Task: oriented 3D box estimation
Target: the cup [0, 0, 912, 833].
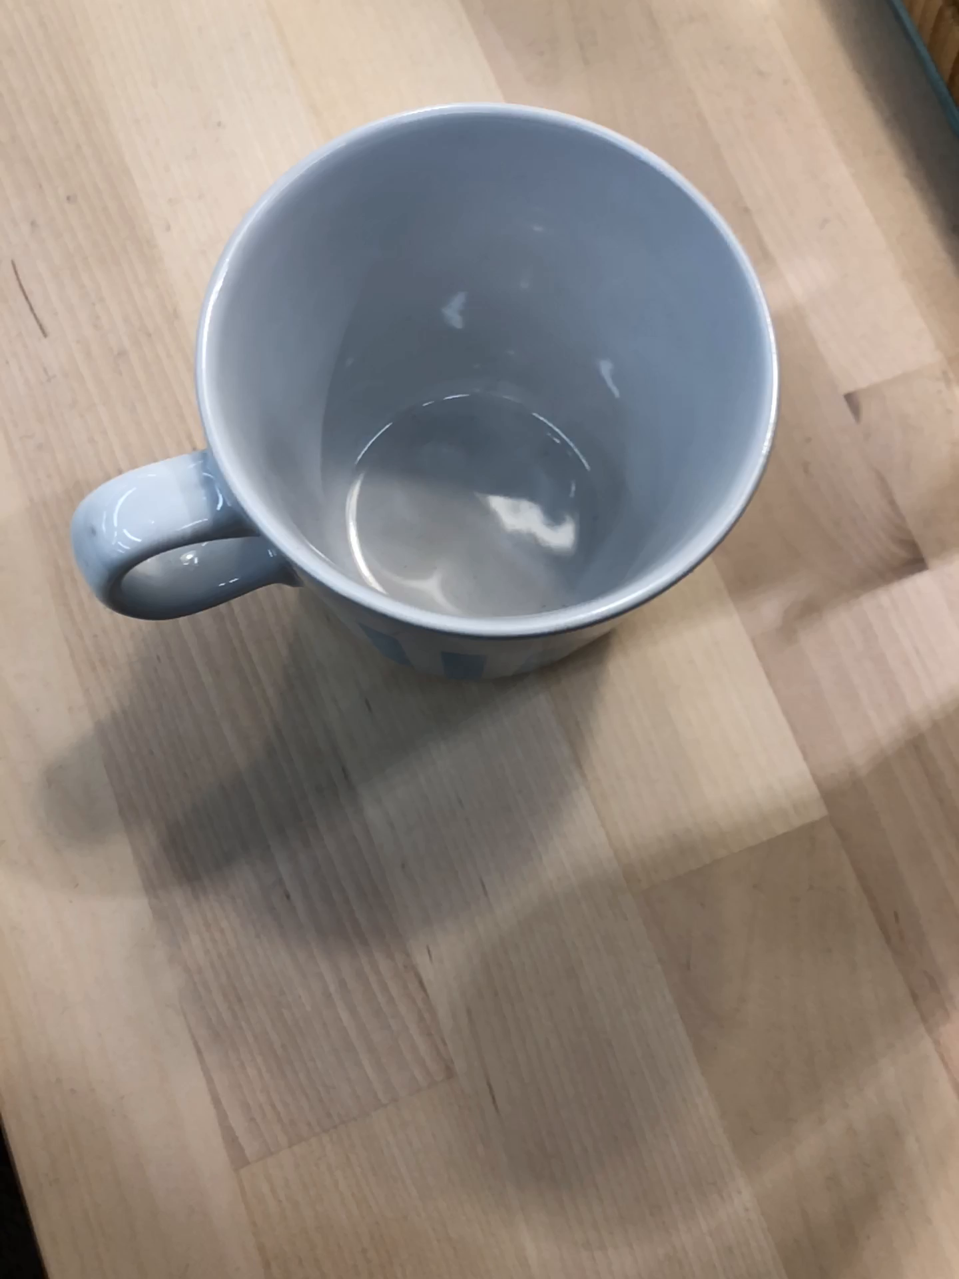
[{"bbox_3d":[-0.015,-0.030,0.180,0.120,0.080,0.080,-20,78,-7],"label":"cup"}]
